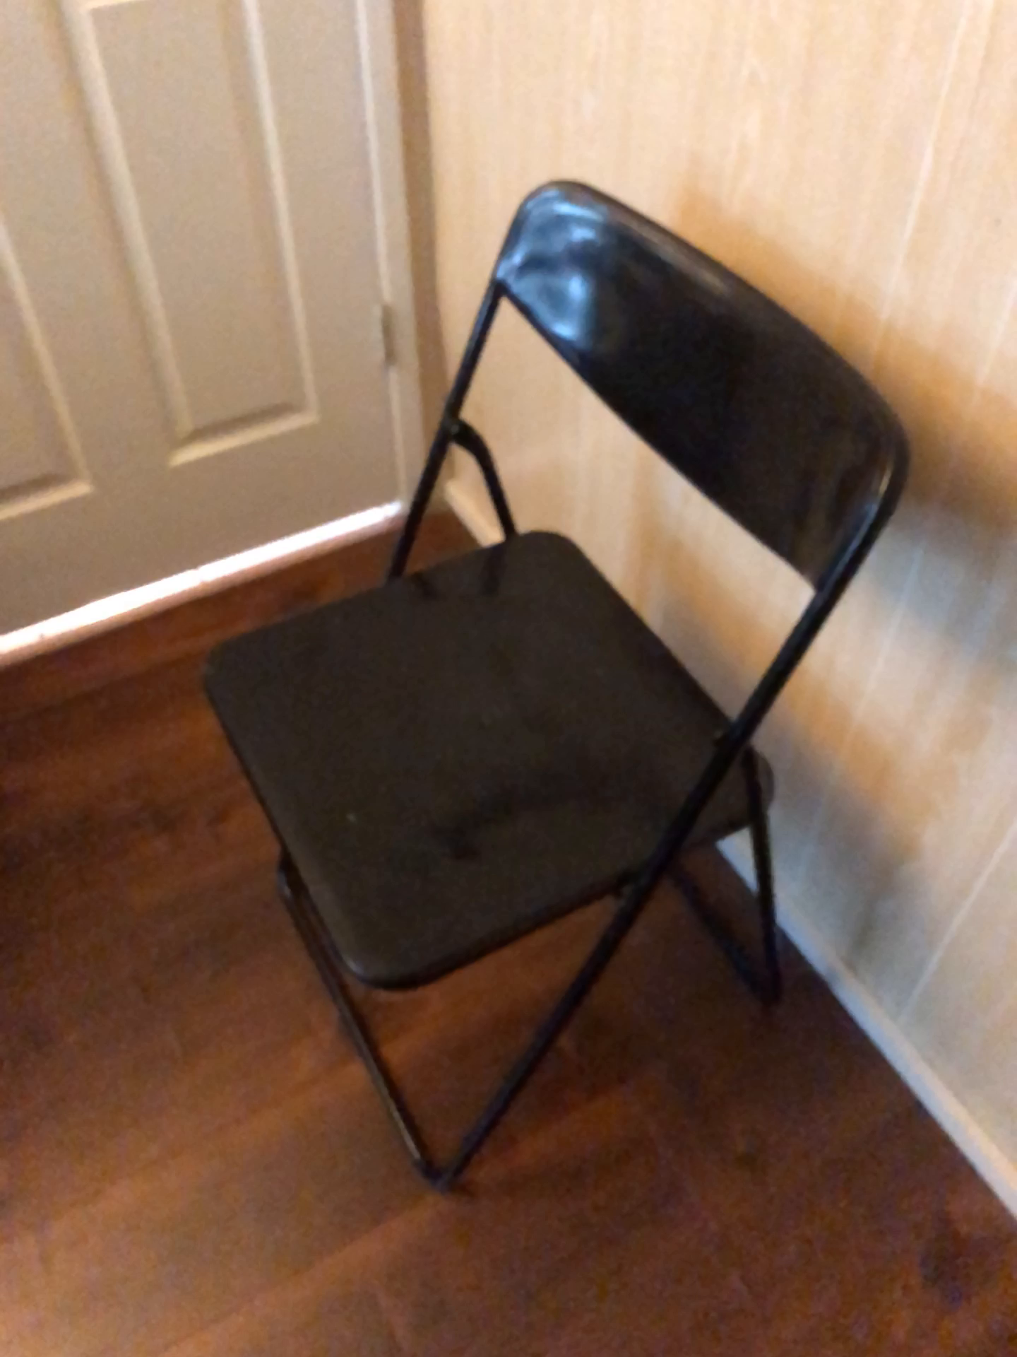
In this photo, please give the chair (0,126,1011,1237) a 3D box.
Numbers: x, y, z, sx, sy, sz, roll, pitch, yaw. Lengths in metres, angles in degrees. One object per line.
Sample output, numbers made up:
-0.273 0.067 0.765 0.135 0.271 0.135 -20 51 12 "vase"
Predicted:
-0.038 0.019 0.951 0.471 0.666 0.492 -23 52 -18 "chair"
